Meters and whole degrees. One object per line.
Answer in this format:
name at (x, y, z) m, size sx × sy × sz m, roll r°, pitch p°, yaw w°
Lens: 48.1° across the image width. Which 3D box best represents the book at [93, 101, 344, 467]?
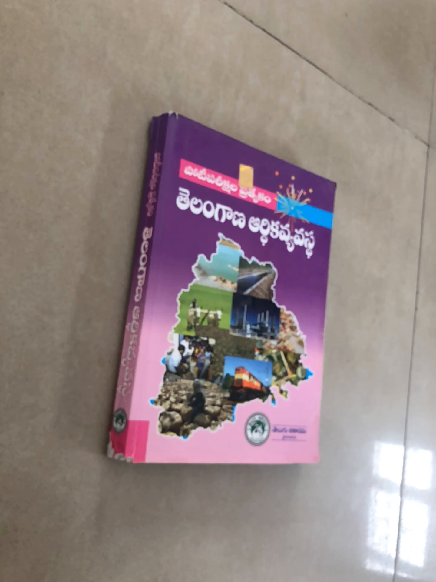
book at (0.014, 0.007, 0.419) m, size 0.192 × 0.040 × 0.268 m, roll 13°, pitch 80°, yaw -33°
